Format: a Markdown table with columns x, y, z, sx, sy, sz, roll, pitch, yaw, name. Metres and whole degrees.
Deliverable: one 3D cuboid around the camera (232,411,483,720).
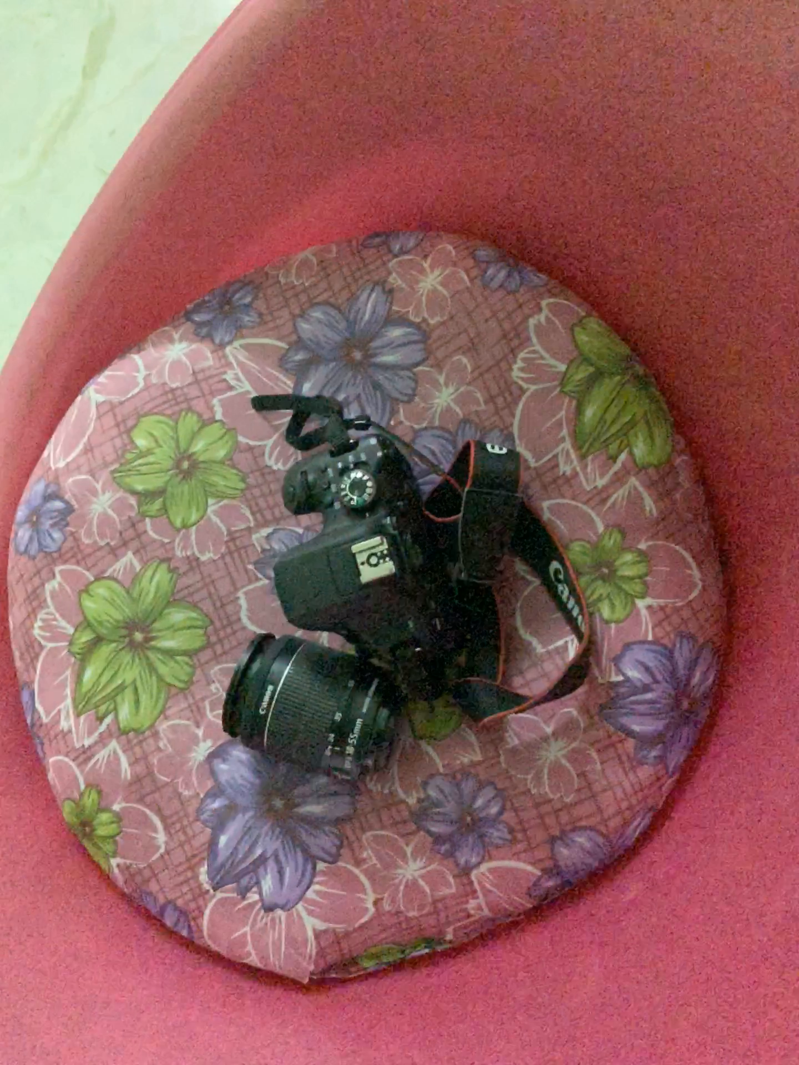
| x | y | z | sx | sy | sz | roll | pitch | yaw | name |
| --- | --- | --- | --- | --- | --- | --- | --- | --- | --- |
| -0.022 | 0.023 | 0.465 | 0.086 | 0.078 | 0.143 | -21 | 74 | 11 | camera |
